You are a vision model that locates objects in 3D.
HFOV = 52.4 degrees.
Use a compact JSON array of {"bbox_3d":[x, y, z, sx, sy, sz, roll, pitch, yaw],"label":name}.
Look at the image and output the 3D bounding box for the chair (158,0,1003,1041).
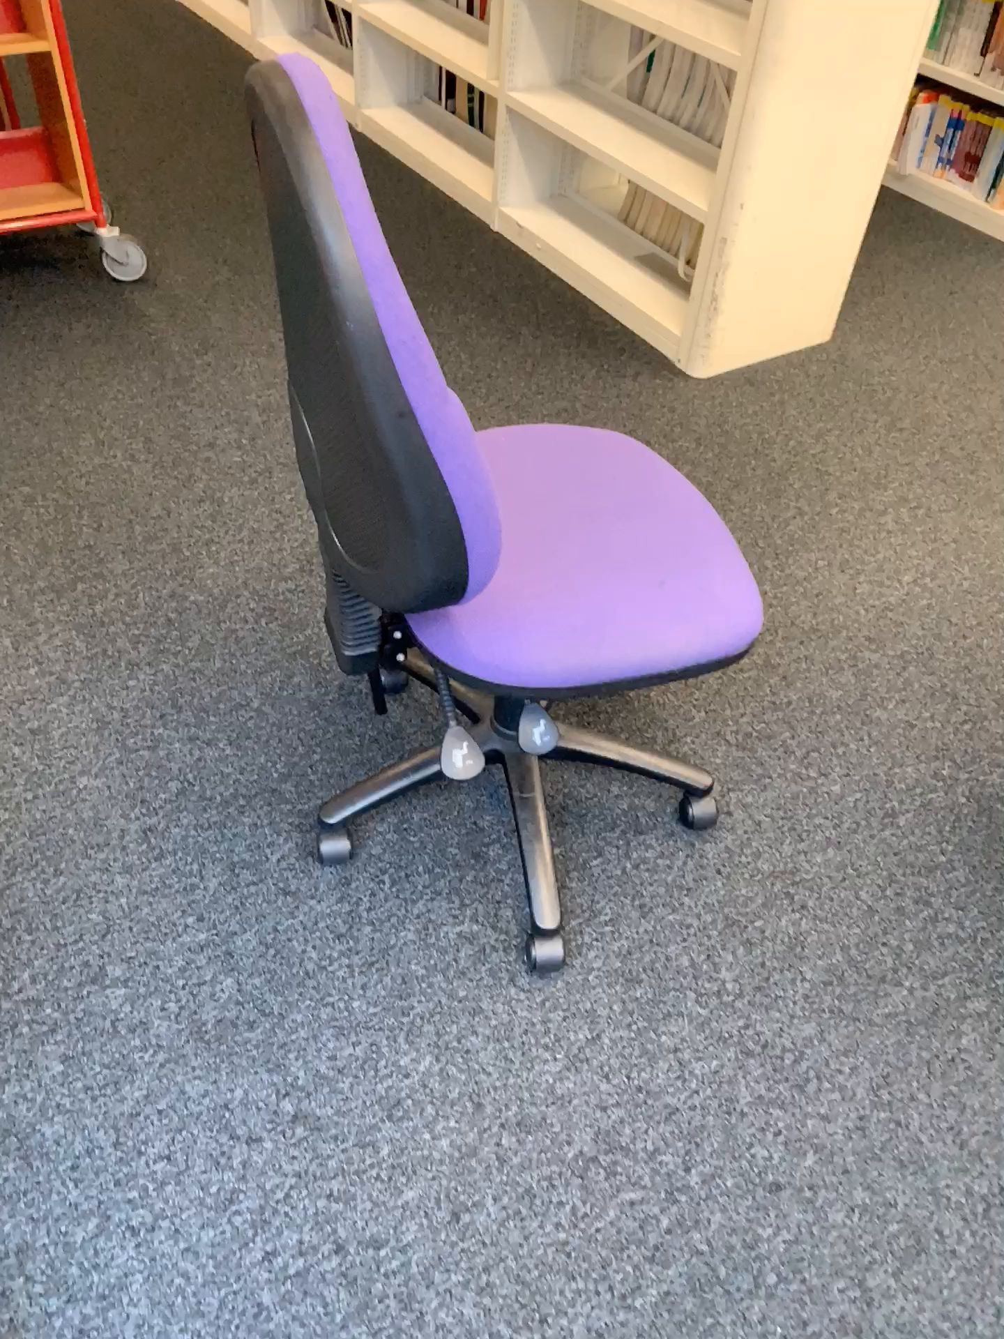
[{"bbox_3d":[0.038,-0.178,1.227,0.635,0.983,0.674,-12,48,-17],"label":"chair"}]
